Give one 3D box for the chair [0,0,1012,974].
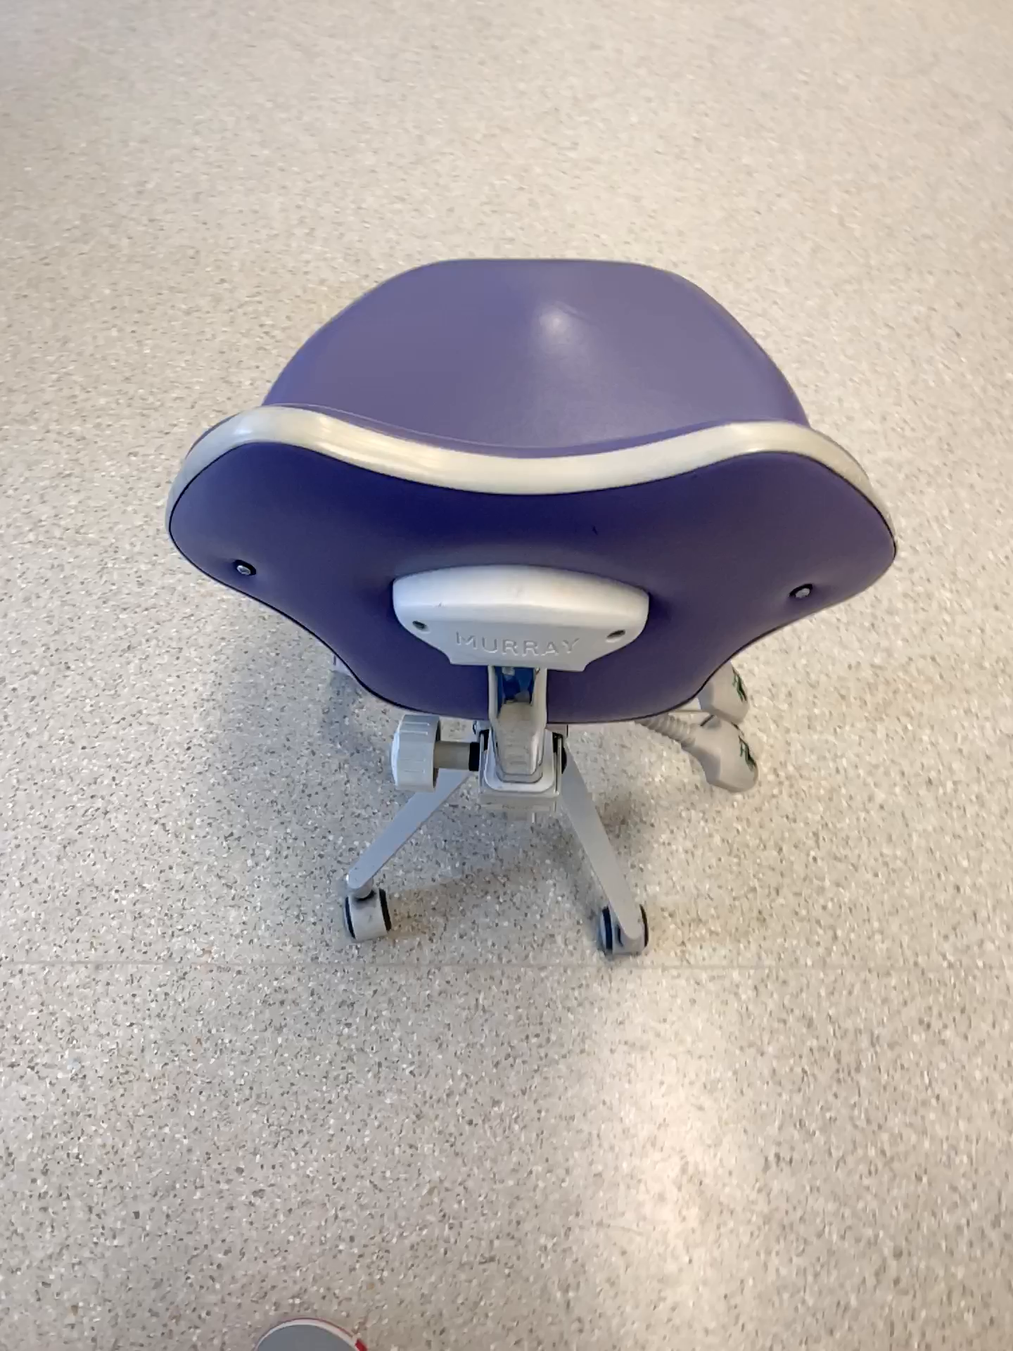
[{"bbox_3d":[0.056,-0.174,0.874,0.600,0.825,0.654,1,62,1],"label":"chair"}]
